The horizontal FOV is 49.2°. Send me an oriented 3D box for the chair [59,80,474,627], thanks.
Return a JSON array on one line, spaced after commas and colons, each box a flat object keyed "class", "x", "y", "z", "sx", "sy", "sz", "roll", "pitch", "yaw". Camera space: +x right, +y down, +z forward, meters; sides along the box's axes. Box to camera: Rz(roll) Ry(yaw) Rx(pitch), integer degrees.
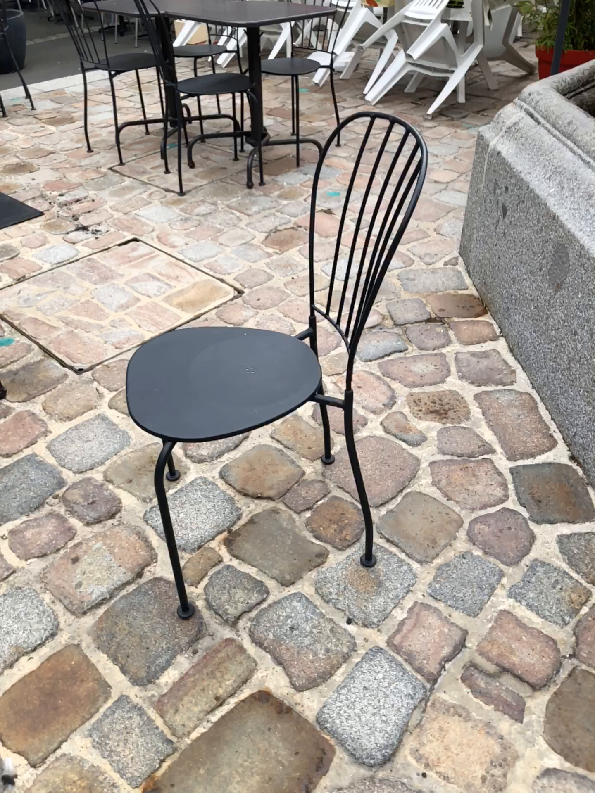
[{"class": "chair", "x": -0.061, "y": -0.056, "z": 1.133, "sx": 0.471, "sy": 0.795, "sz": 0.422, "roll": -8, "pitch": 39, "yaw": -9}]
